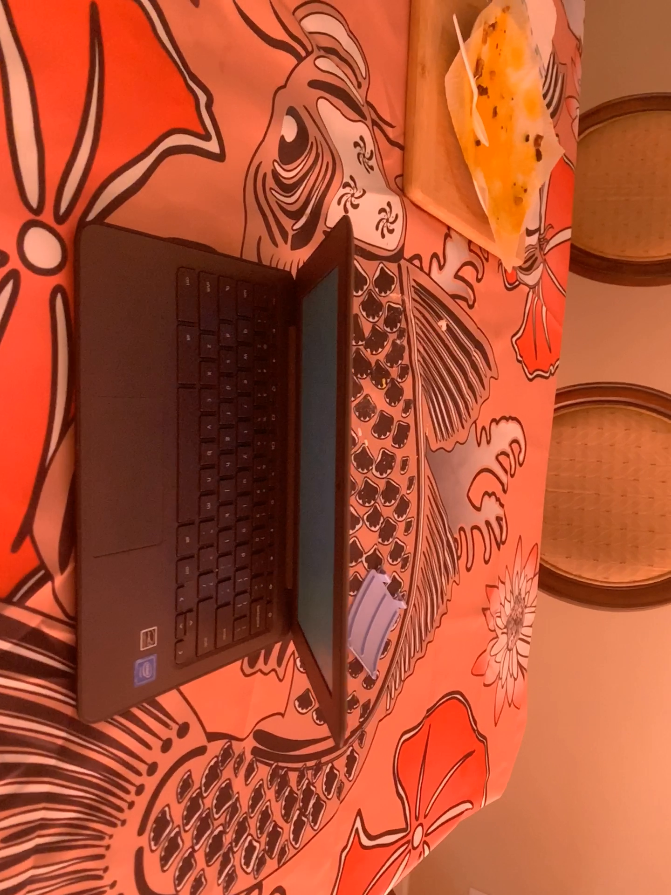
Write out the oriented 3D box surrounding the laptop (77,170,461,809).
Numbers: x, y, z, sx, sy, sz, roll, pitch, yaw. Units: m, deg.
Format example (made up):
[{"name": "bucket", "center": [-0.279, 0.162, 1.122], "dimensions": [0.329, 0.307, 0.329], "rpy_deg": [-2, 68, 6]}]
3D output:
[{"name": "laptop", "center": [-0.031, 0.017, 0.449], "dimensions": [0.212, 0.144, 0.299], "rpy_deg": [-5, 97, -57]}]
